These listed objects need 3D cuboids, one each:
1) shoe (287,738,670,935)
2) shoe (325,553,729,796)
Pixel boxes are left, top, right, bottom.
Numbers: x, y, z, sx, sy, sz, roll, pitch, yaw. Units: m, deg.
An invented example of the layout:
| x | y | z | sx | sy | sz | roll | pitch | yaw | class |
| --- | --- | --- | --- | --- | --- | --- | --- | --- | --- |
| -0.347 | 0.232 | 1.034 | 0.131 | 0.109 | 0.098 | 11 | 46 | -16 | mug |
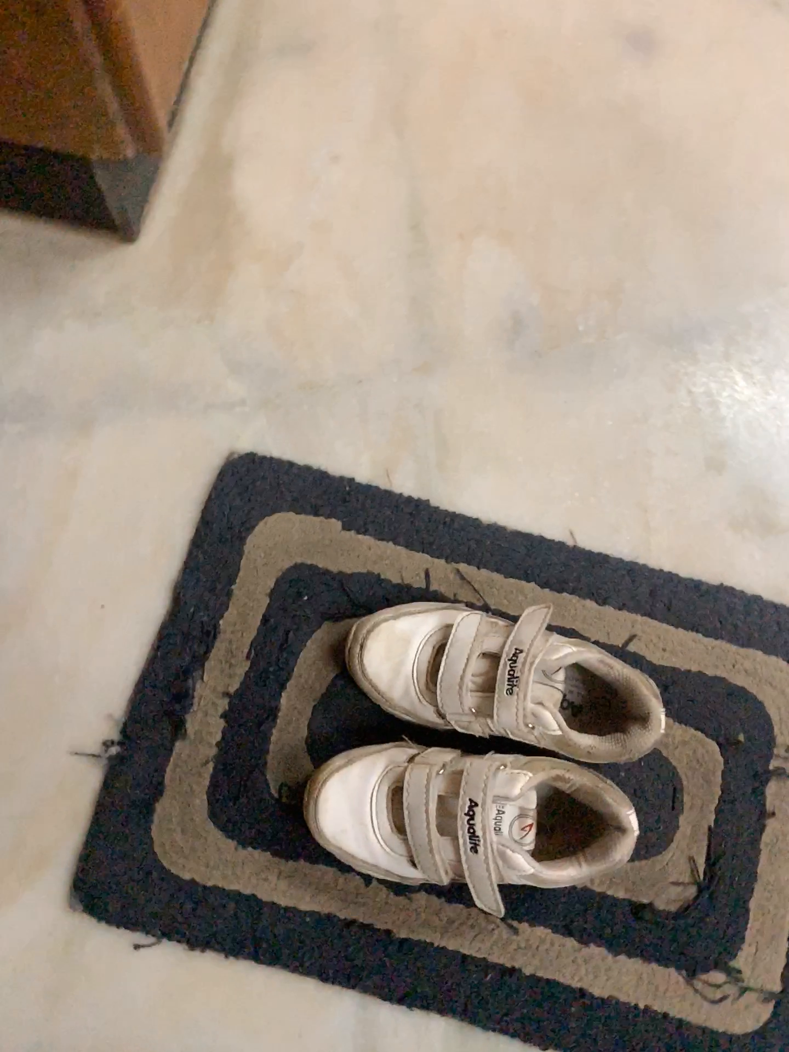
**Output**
| x | y | z | sx | sy | sz | roll | pitch | yaw | class |
| --- | --- | --- | --- | --- | --- | --- | --- | --- | --- |
| 0.042 | 0.167 | 0.452 | 0.190 | 0.090 | 0.080 | 5 | 75 | -3 | shoe |
| 0.068 | 0.086 | 0.462 | 0.200 | 0.090 | 0.080 | 13 | 75 | 0 | shoe |
